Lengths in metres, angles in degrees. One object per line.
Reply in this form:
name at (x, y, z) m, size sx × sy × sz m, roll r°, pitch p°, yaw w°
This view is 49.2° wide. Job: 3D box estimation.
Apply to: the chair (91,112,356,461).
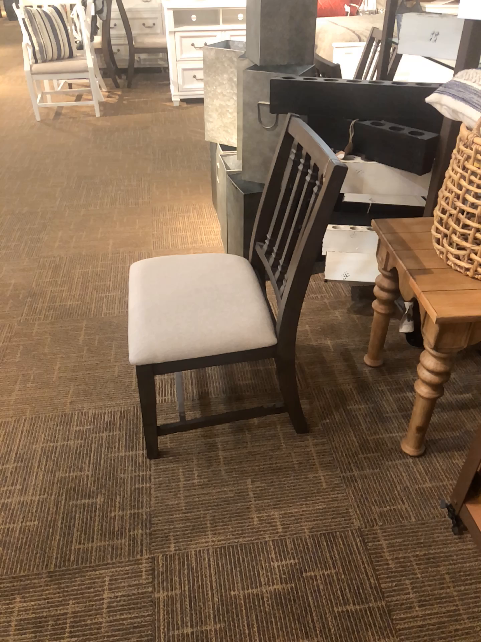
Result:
chair at (-0.063, -0.111, 1.684) m, size 0.600 × 0.905 × 0.583 m, roll -4°, pitch 36°, yaw -5°
